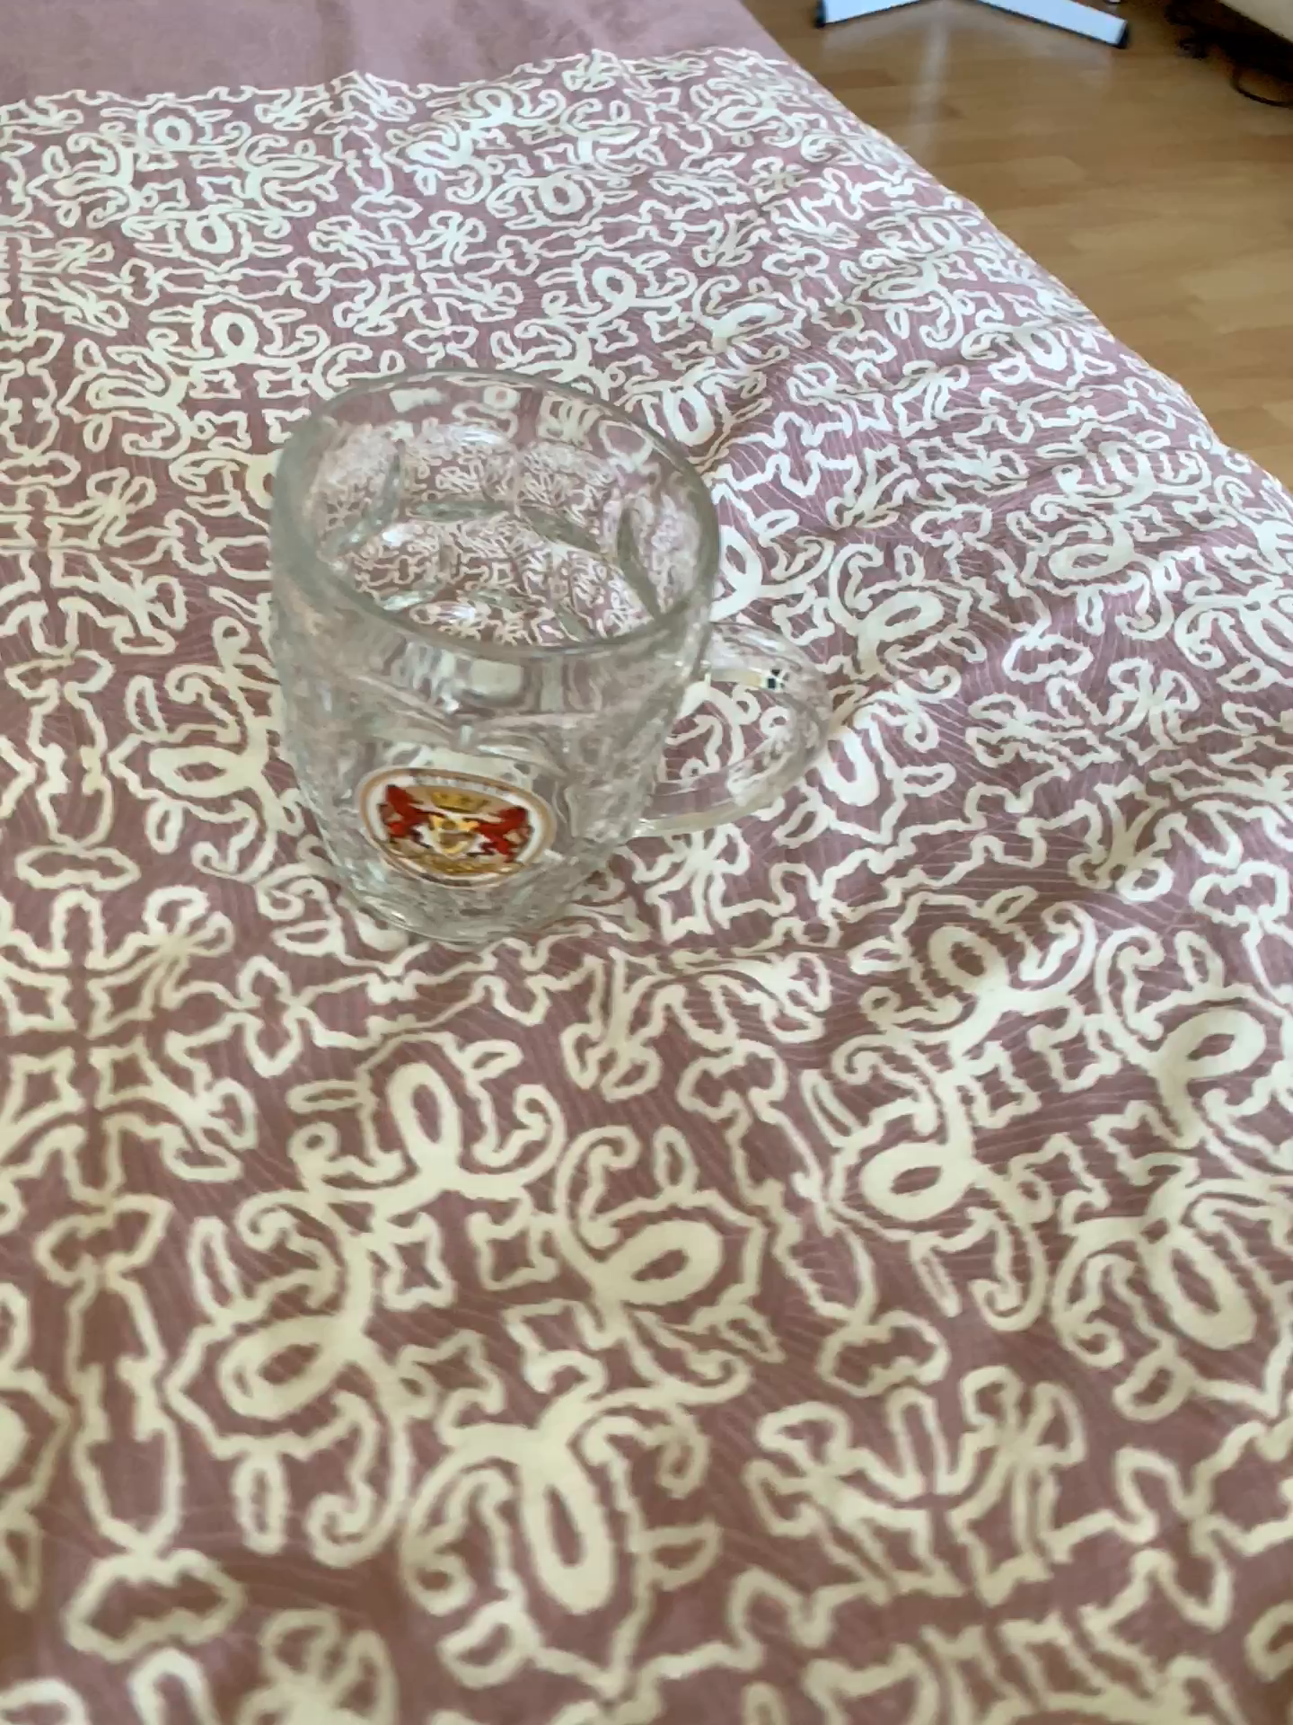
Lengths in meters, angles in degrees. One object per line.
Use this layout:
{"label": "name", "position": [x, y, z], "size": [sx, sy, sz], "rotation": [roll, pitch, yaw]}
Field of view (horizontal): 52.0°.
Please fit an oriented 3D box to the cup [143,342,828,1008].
{"label": "cup", "position": [-0.035, -0.037, 0.294], "size": [0.117, 0.099, 0.094], "rotation": [4, 52, -9]}
